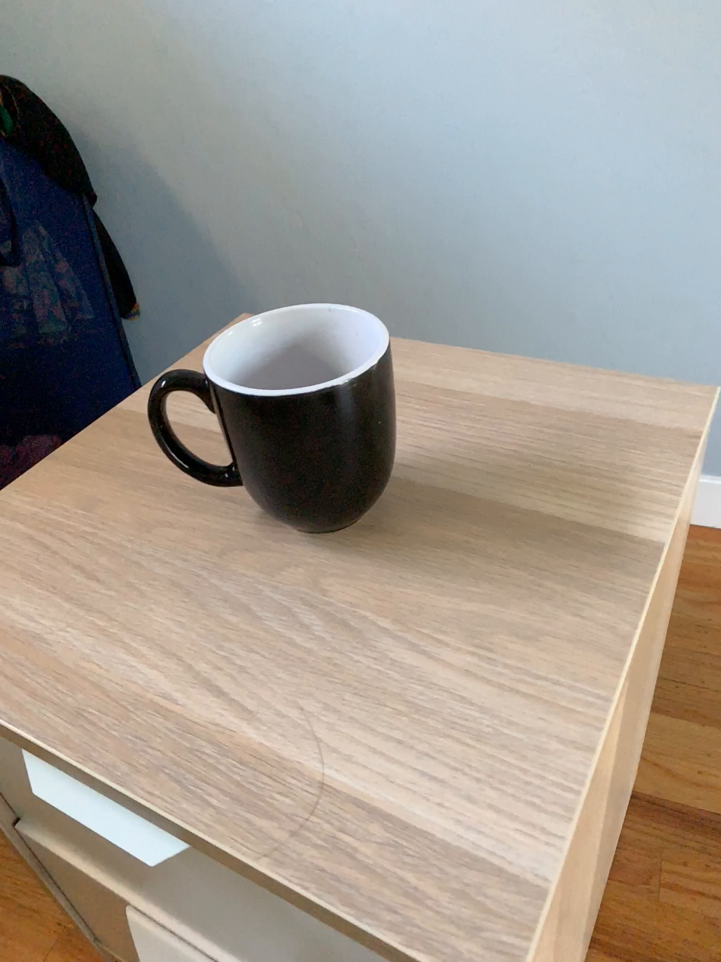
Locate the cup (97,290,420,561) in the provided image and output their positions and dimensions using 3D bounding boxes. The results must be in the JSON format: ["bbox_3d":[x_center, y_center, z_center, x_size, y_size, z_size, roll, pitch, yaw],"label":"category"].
[{"bbox_3d":[-0.049,-0.033,0.423,0.150,0.099,0.101,-6,38,2],"label":"cup"}]

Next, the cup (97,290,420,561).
[{"bbox_3d":[-0.049,-0.033,0.423,0.150,0.099,0.101,-6,38,2],"label":"cup"}]
